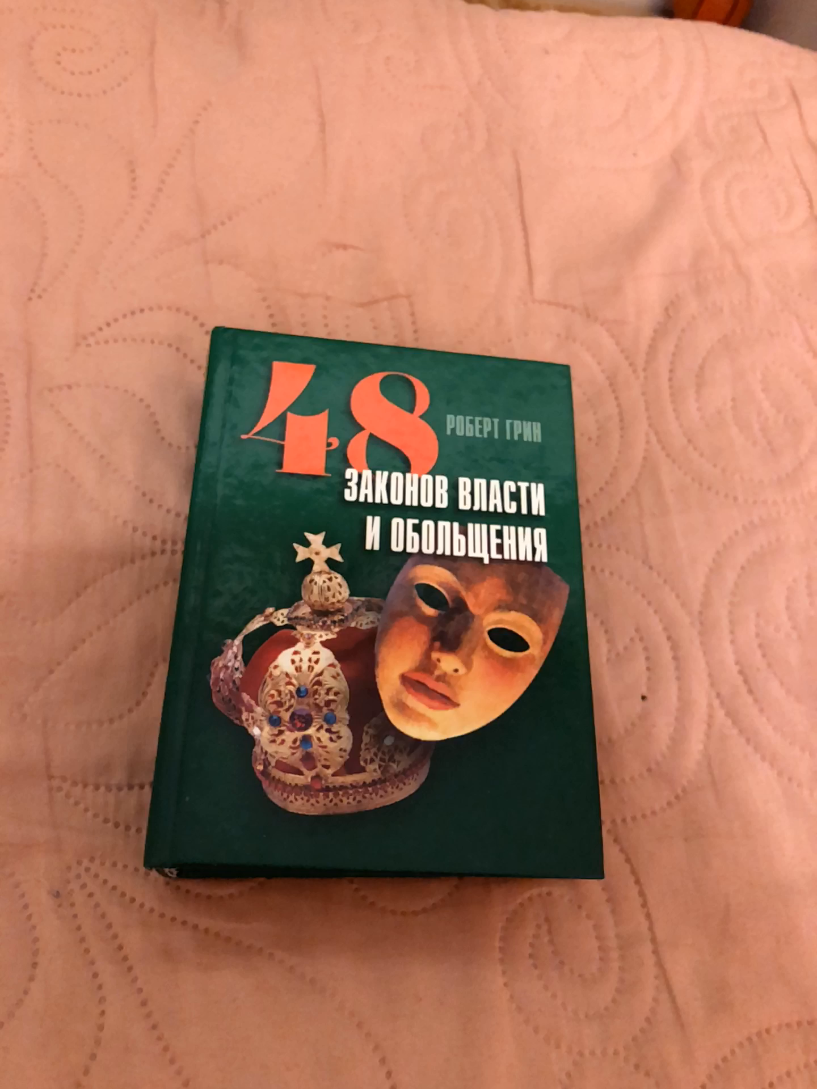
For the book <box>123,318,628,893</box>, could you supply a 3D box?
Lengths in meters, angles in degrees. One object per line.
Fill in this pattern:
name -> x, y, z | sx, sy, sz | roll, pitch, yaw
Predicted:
book -> -0.007, 0.014, 0.240 | 0.110, 0.032, 0.143 | 5, 64, -10
